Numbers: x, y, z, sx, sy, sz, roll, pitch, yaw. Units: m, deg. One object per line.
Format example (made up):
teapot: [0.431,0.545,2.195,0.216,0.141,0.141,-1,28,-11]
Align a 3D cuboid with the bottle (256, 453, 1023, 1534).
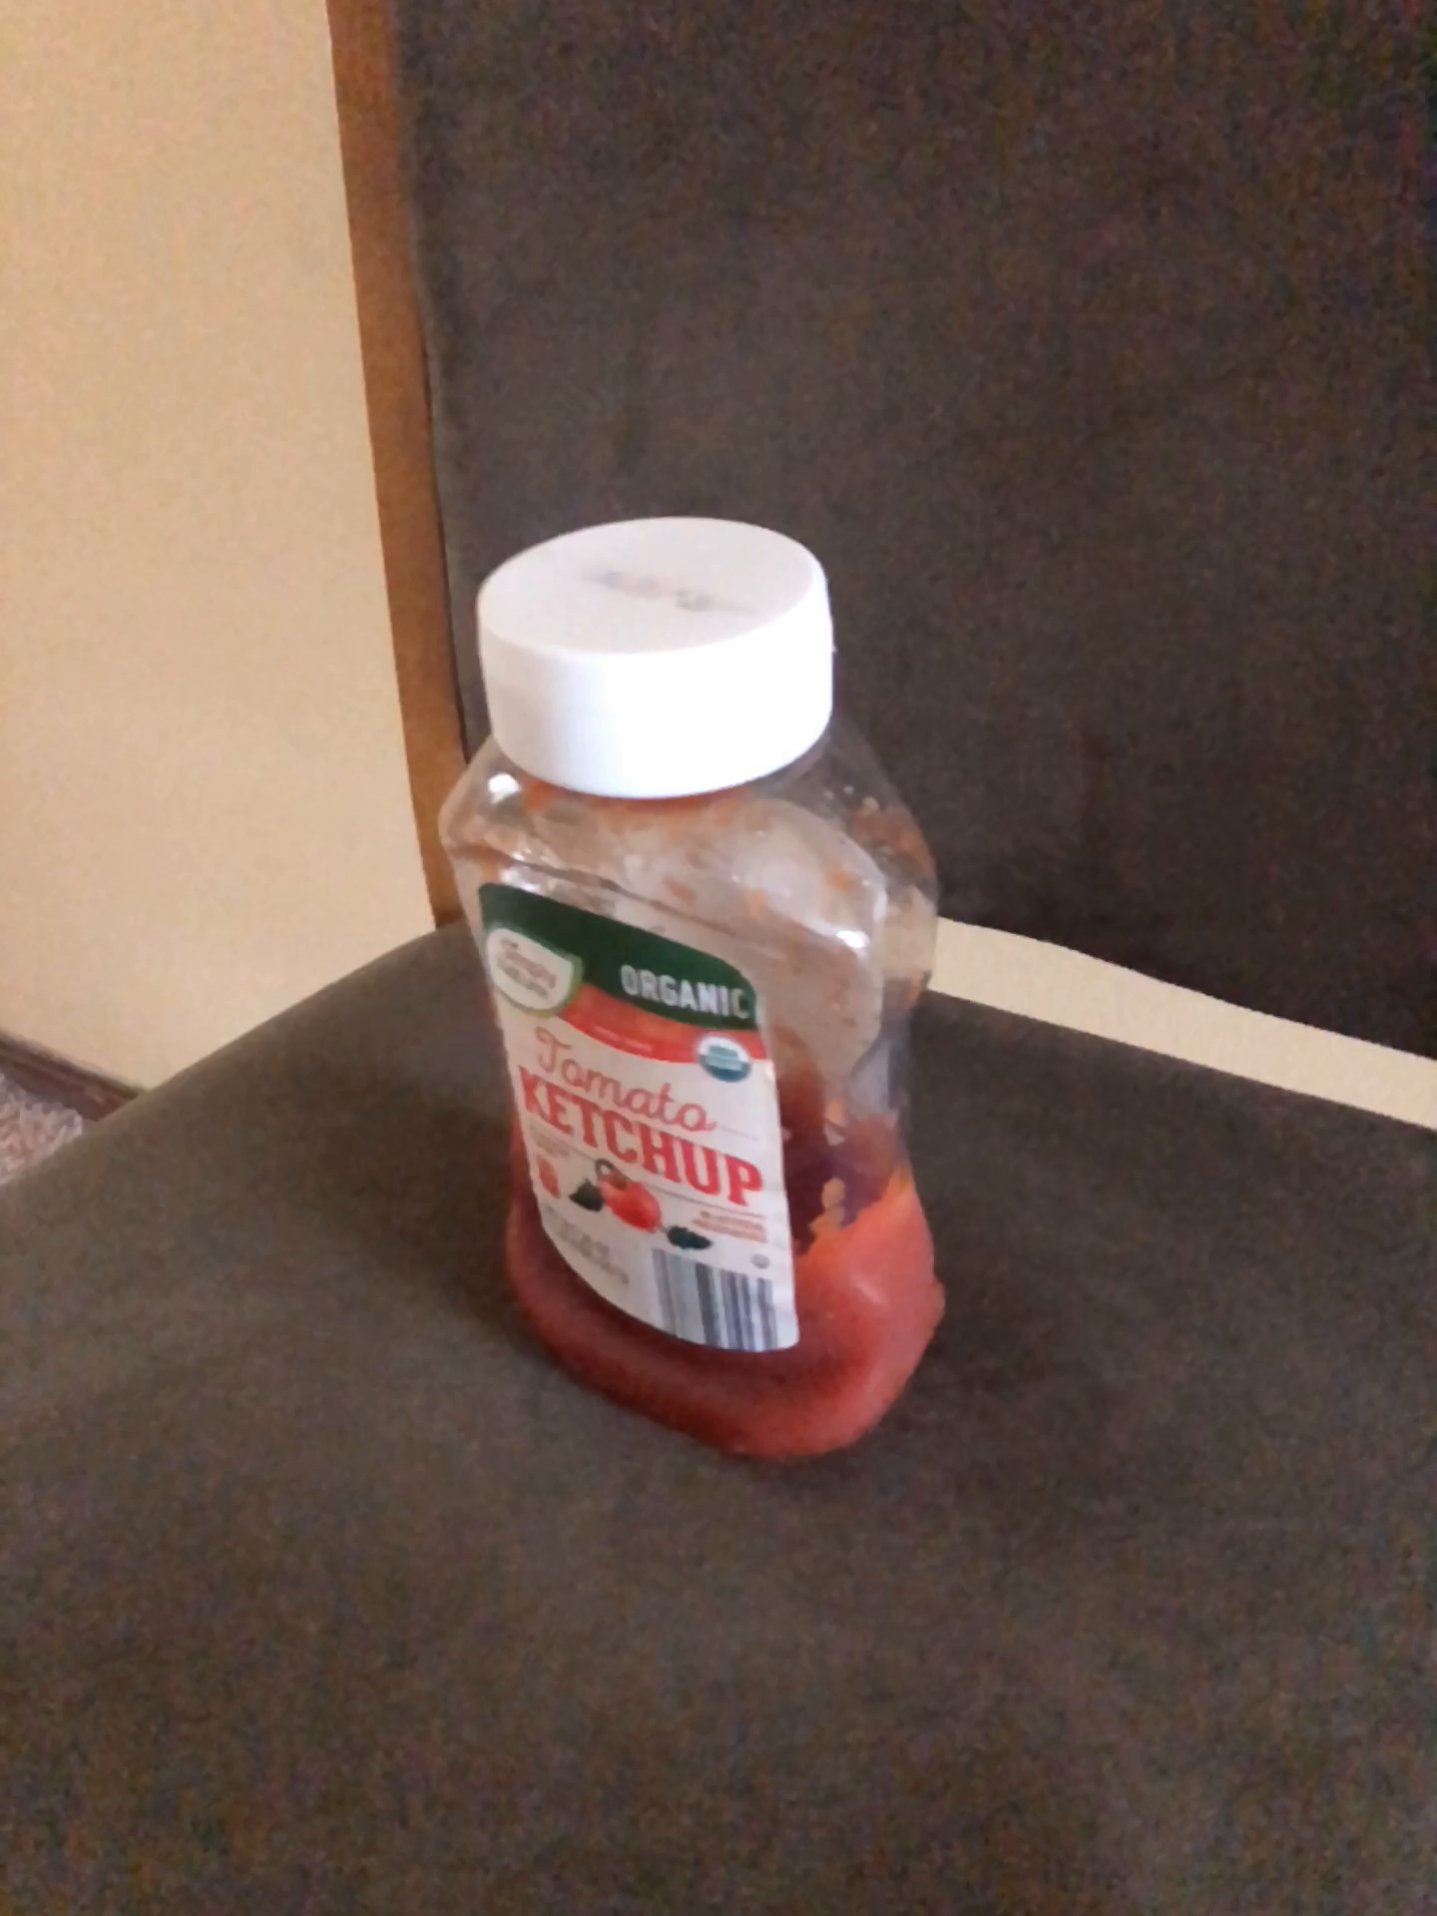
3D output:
bottle: [-0.007,0.008,0.288,0.100,0.169,0.060,19,42,30]
